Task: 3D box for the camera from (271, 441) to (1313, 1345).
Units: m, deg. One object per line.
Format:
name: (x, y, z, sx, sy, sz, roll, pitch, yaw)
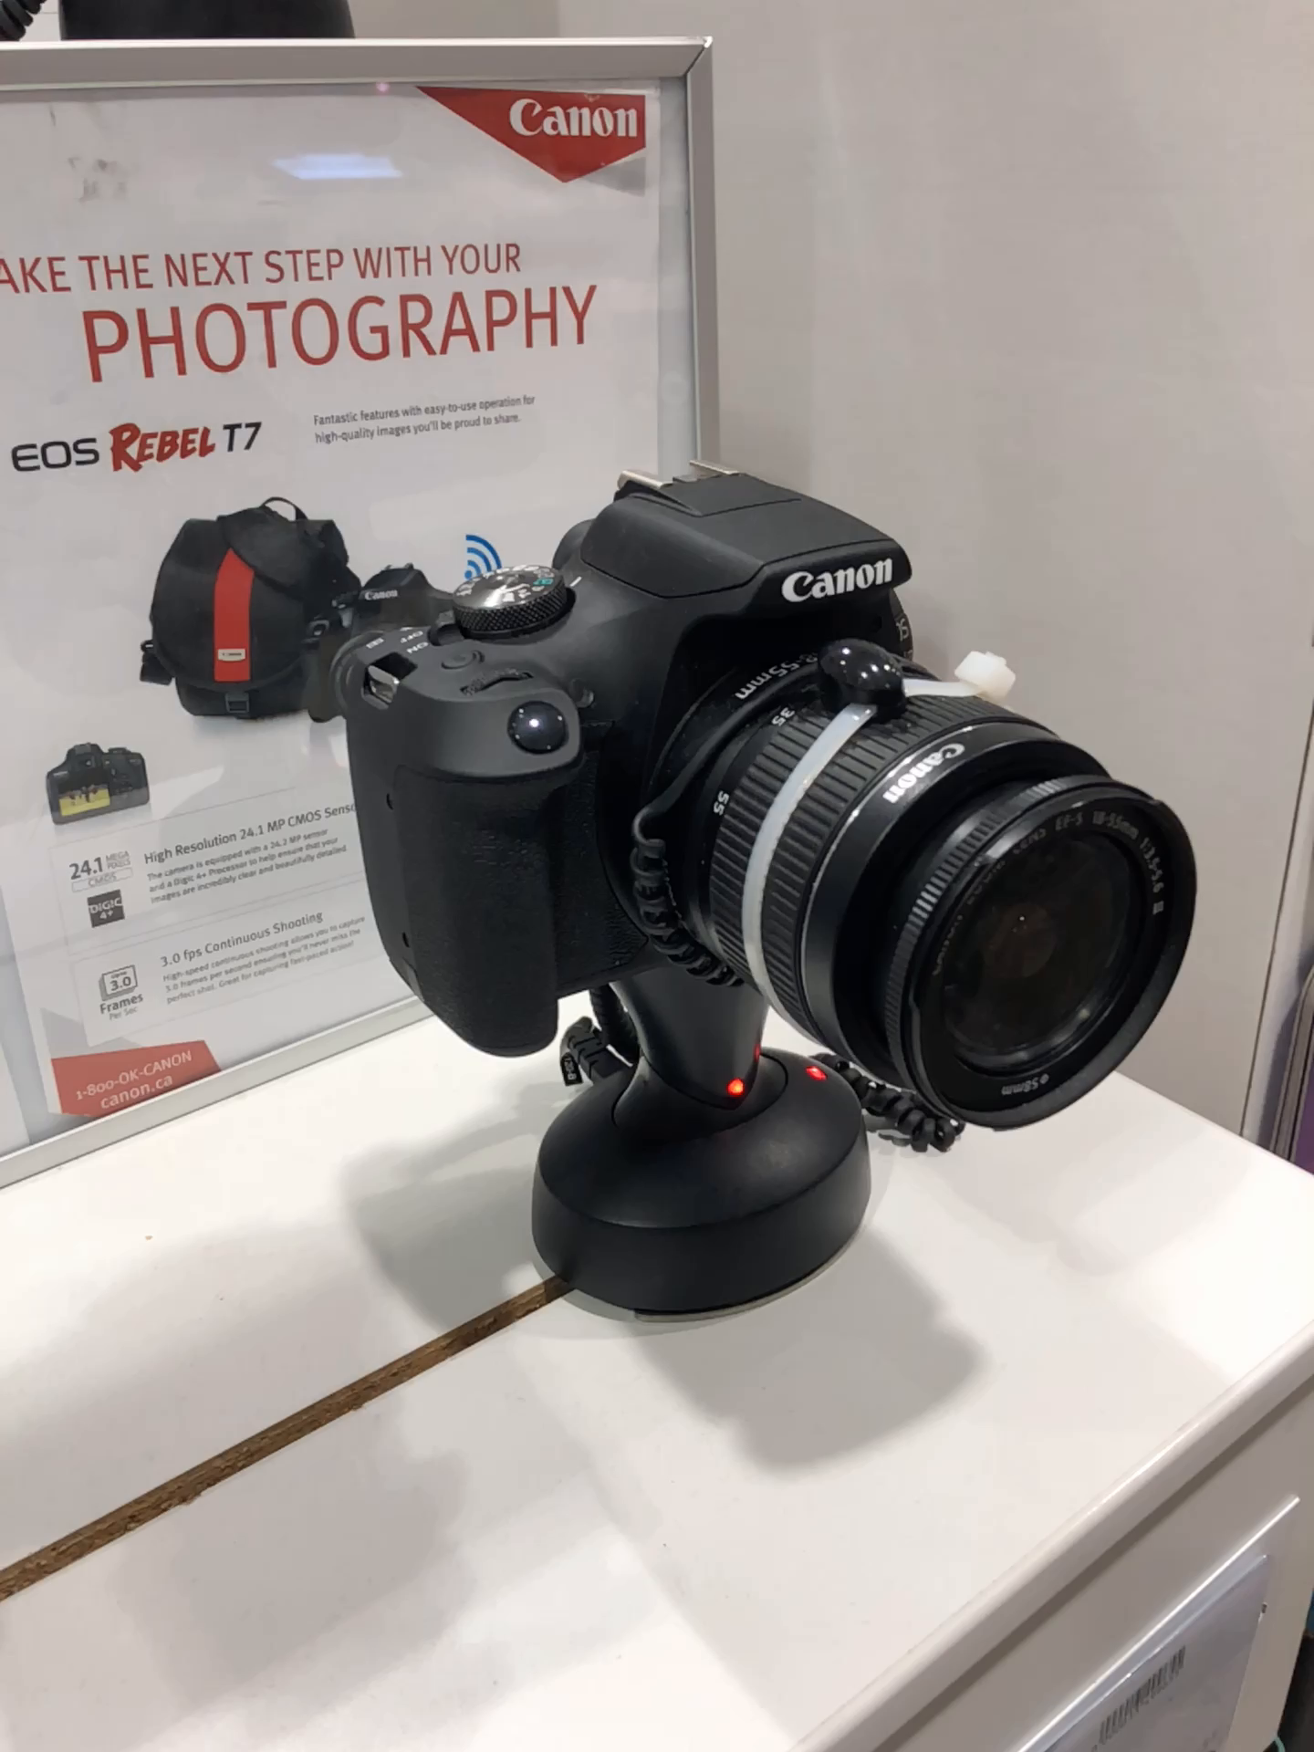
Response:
camera: (0.026, -0.019, 0.281, 0.140, 0.090, 0.151, -18, 30, -28)
